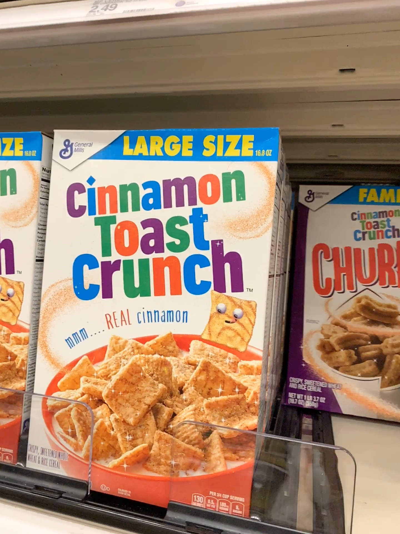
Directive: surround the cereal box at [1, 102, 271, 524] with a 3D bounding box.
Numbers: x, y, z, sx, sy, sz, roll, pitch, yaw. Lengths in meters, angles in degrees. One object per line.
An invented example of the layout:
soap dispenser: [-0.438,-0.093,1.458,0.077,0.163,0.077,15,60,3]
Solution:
cereal box: [-0.050,0.025,0.343,0.190,0.290,0.070,4,0,15]
